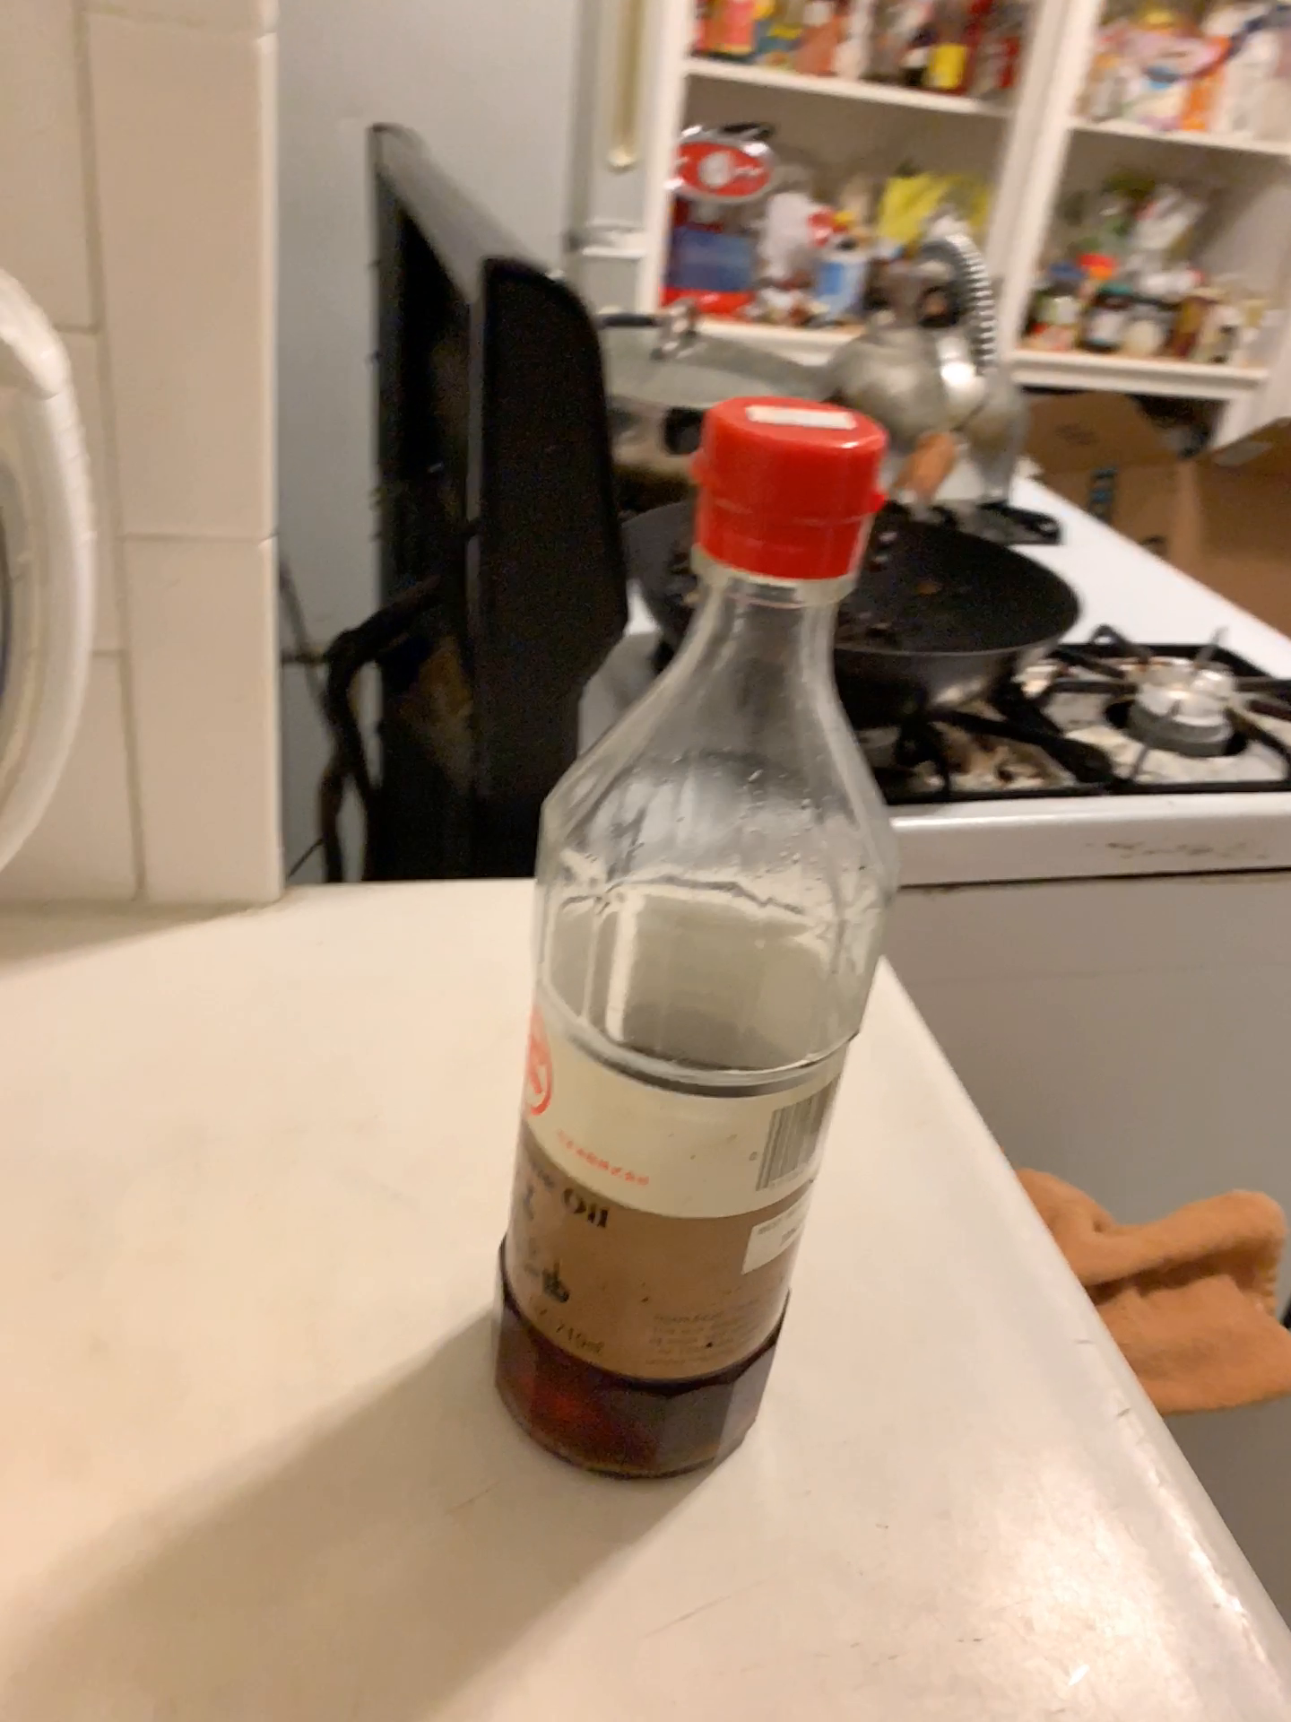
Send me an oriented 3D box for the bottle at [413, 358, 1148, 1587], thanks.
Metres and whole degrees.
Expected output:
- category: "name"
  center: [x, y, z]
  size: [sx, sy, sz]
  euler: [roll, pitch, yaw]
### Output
- category: "bottle"
  center: [0.007, 0.034, 0.301]
  size: [0.090, 0.258, 0.091]
  euler: [6, 31, -4]
